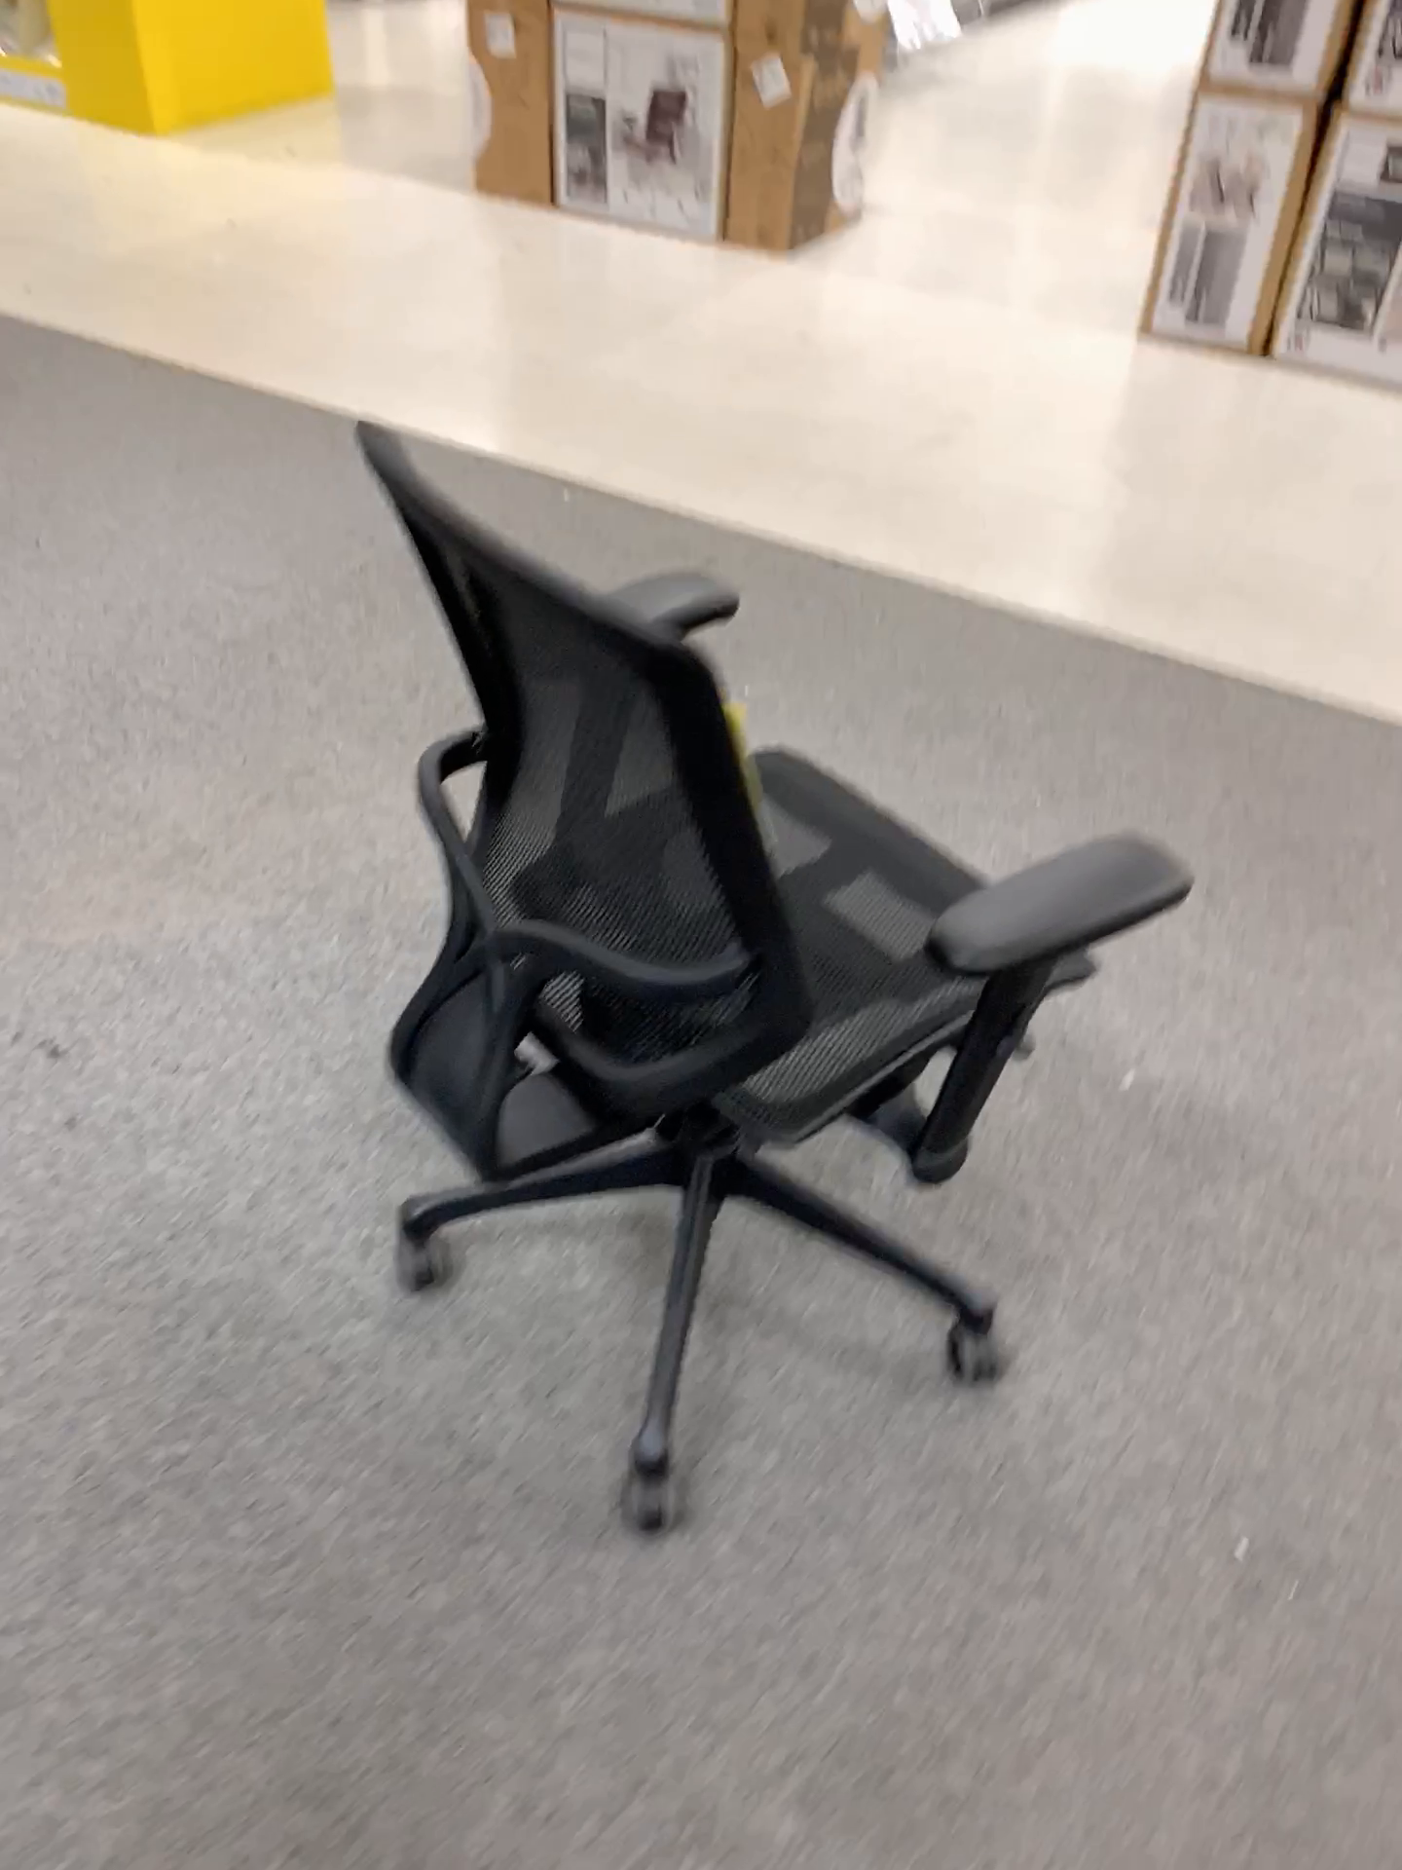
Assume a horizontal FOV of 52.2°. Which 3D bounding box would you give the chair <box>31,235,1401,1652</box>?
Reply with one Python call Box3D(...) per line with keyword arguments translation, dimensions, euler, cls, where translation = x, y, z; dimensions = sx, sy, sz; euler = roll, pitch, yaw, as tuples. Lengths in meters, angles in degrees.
Box3D(translation=(0.031, -0.063, 1.332), dimensions=(0.762, 0.806, 0.762), euler=(33, 49, 30), cls="chair")
